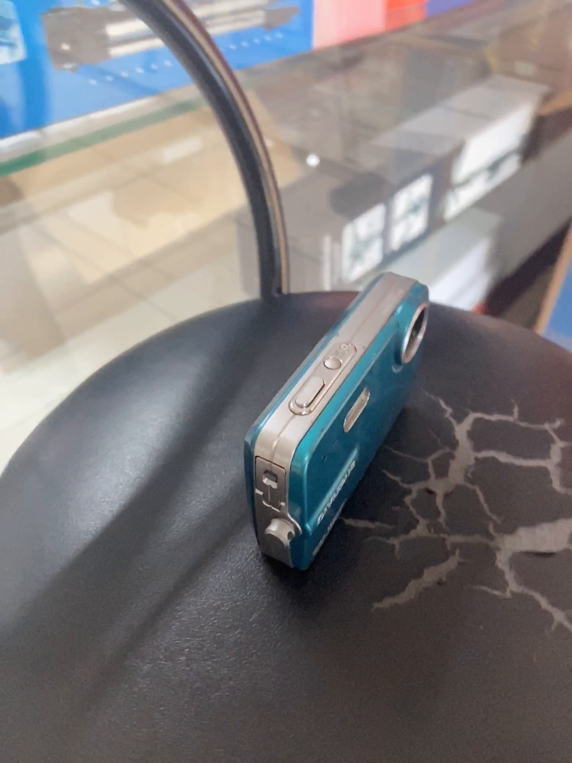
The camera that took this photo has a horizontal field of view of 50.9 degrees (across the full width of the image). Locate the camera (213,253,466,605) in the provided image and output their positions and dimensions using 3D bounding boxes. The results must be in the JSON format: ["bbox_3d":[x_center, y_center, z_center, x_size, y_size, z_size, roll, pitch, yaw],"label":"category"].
[{"bbox_3d":[0.021,0.009,0.187,0.030,0.050,0.100,21,47,22],"label":"camera"}]
